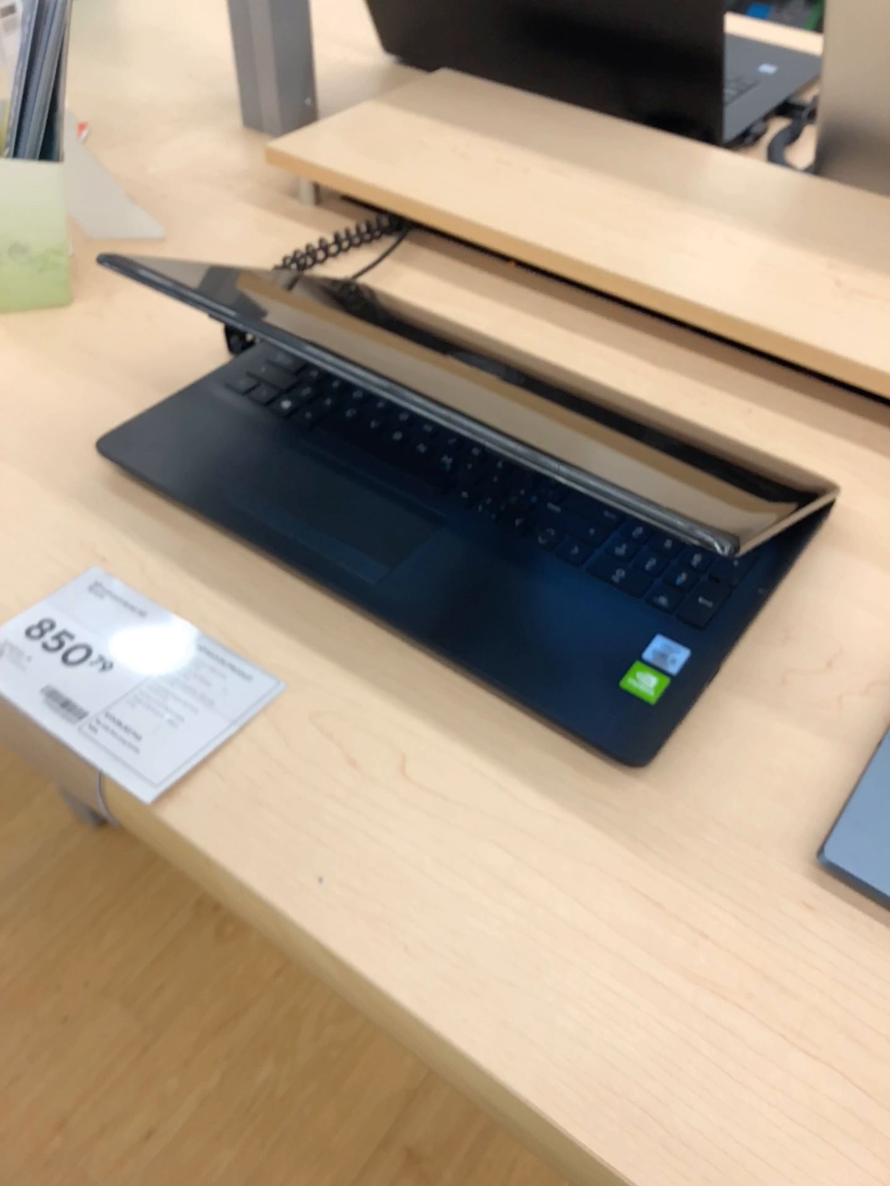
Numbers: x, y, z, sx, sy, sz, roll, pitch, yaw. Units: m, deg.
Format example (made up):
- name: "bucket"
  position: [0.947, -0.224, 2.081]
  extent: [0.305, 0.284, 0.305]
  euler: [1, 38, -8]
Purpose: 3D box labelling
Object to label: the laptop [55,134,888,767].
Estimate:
- name: "laptop"
  position: [0.008, -0.114, 0.553]
  extent: [0.372, 0.115, 0.239]
  euler: [29, 51, 25]
